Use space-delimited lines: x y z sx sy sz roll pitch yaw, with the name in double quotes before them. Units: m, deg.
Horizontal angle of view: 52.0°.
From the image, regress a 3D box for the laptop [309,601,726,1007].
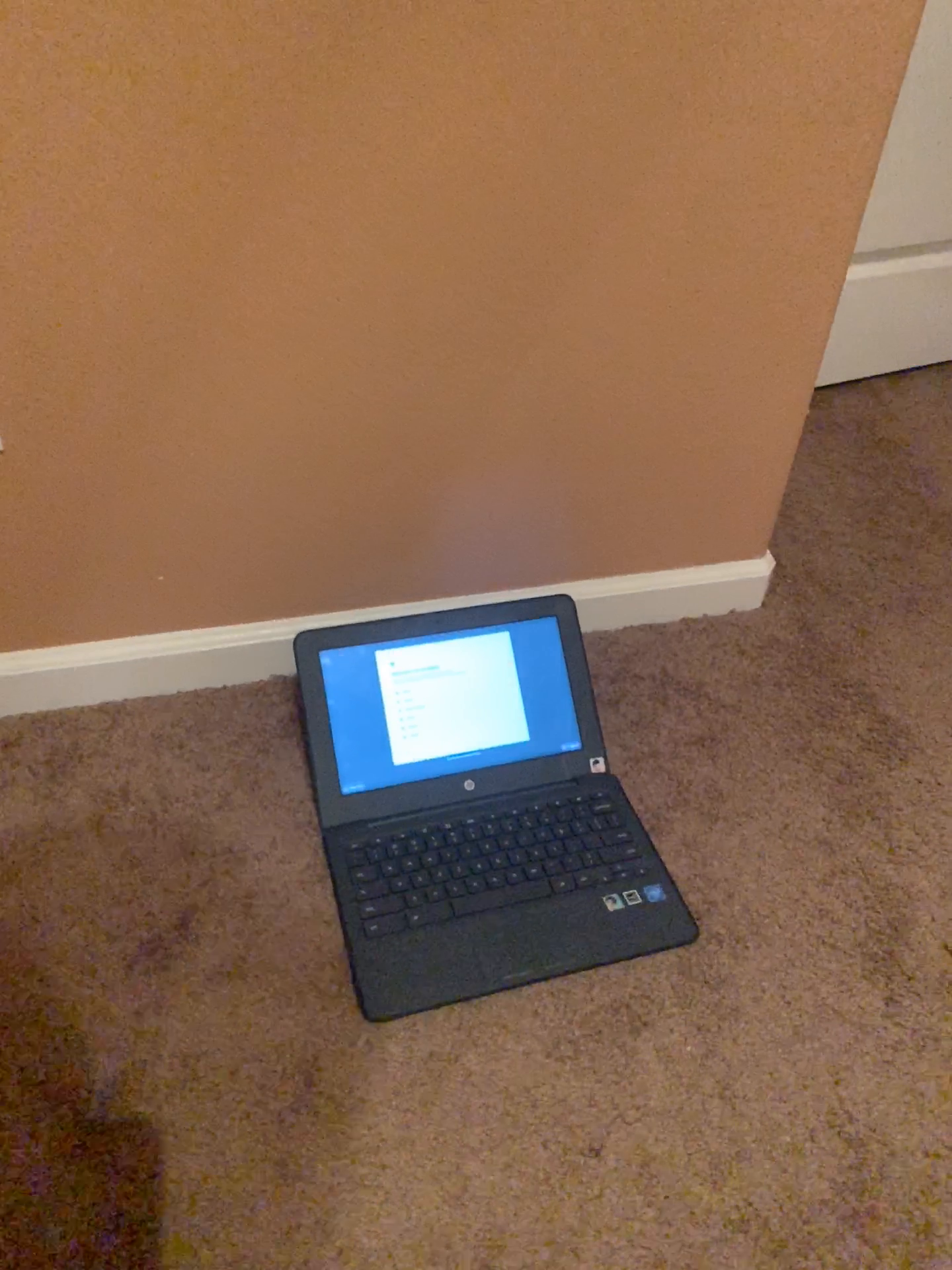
"laptop" 0.015 0.133 0.918 0.288 0.124 0.333 -8 39 -15
